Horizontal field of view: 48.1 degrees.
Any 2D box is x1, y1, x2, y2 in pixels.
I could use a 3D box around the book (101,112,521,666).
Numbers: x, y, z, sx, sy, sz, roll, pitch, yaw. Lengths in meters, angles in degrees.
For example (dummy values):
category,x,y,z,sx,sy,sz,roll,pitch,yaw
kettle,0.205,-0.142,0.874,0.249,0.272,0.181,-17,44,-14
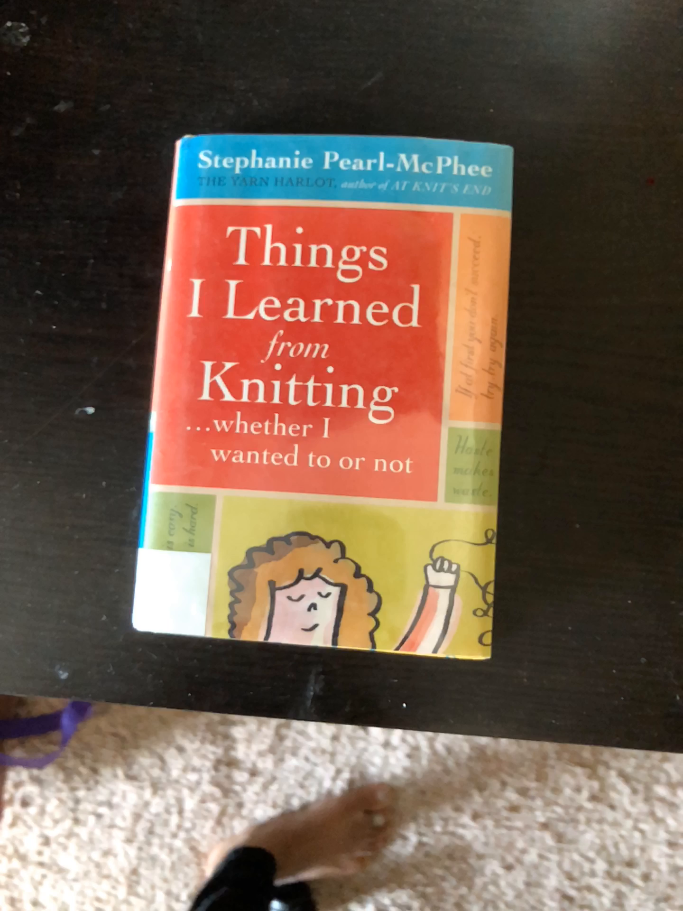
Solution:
category,x,y,z,sx,sy,sz,roll,pitch,yaw
book,-0.007,-0.023,0.248,0.118,0.023,0.166,4,84,2
